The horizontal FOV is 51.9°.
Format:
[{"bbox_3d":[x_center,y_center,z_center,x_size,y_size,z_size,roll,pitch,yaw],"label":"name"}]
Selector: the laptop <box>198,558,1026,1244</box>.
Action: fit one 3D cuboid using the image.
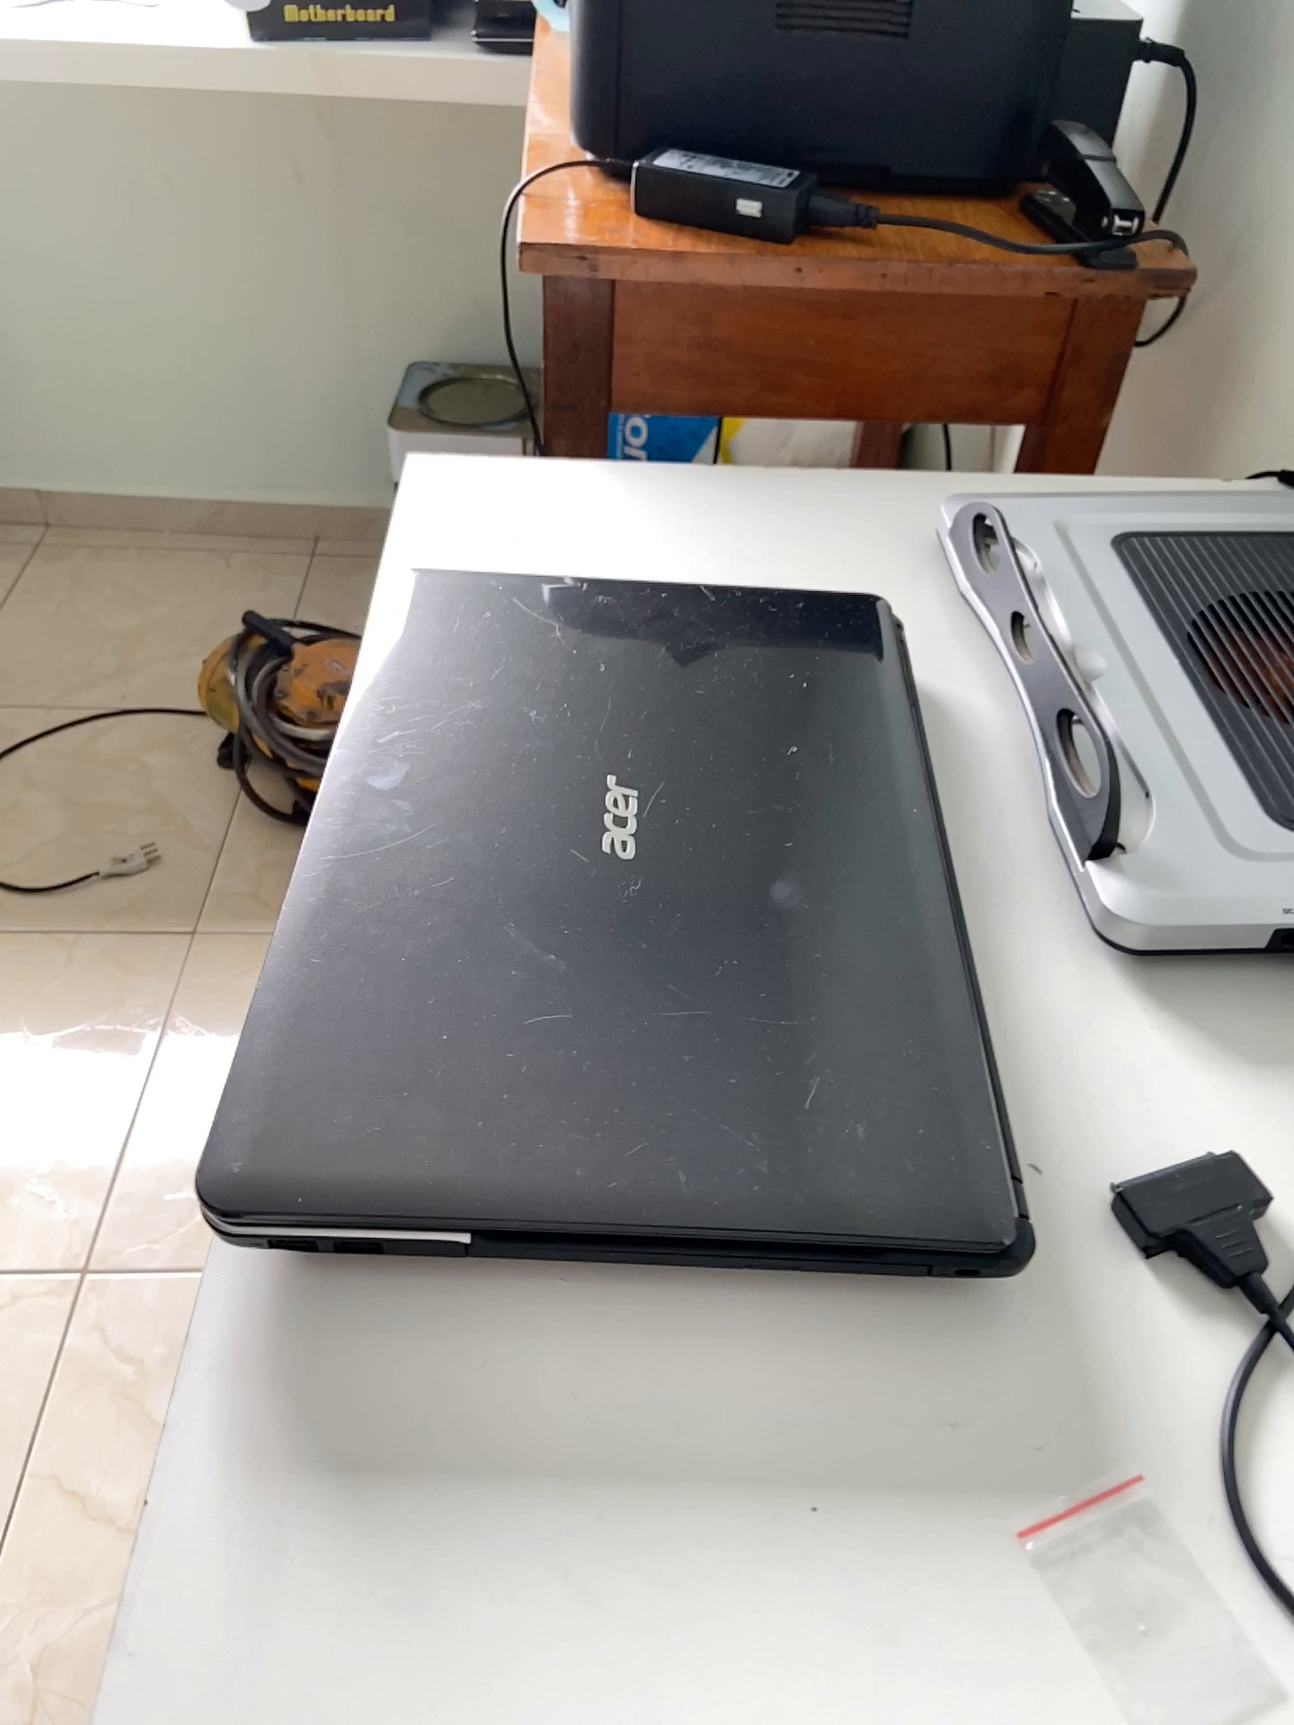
[{"bbox_3d":[-0.005,-0.016,0.492,0.230,0.005,0.337,3,43,-2],"label":"laptop"}]
